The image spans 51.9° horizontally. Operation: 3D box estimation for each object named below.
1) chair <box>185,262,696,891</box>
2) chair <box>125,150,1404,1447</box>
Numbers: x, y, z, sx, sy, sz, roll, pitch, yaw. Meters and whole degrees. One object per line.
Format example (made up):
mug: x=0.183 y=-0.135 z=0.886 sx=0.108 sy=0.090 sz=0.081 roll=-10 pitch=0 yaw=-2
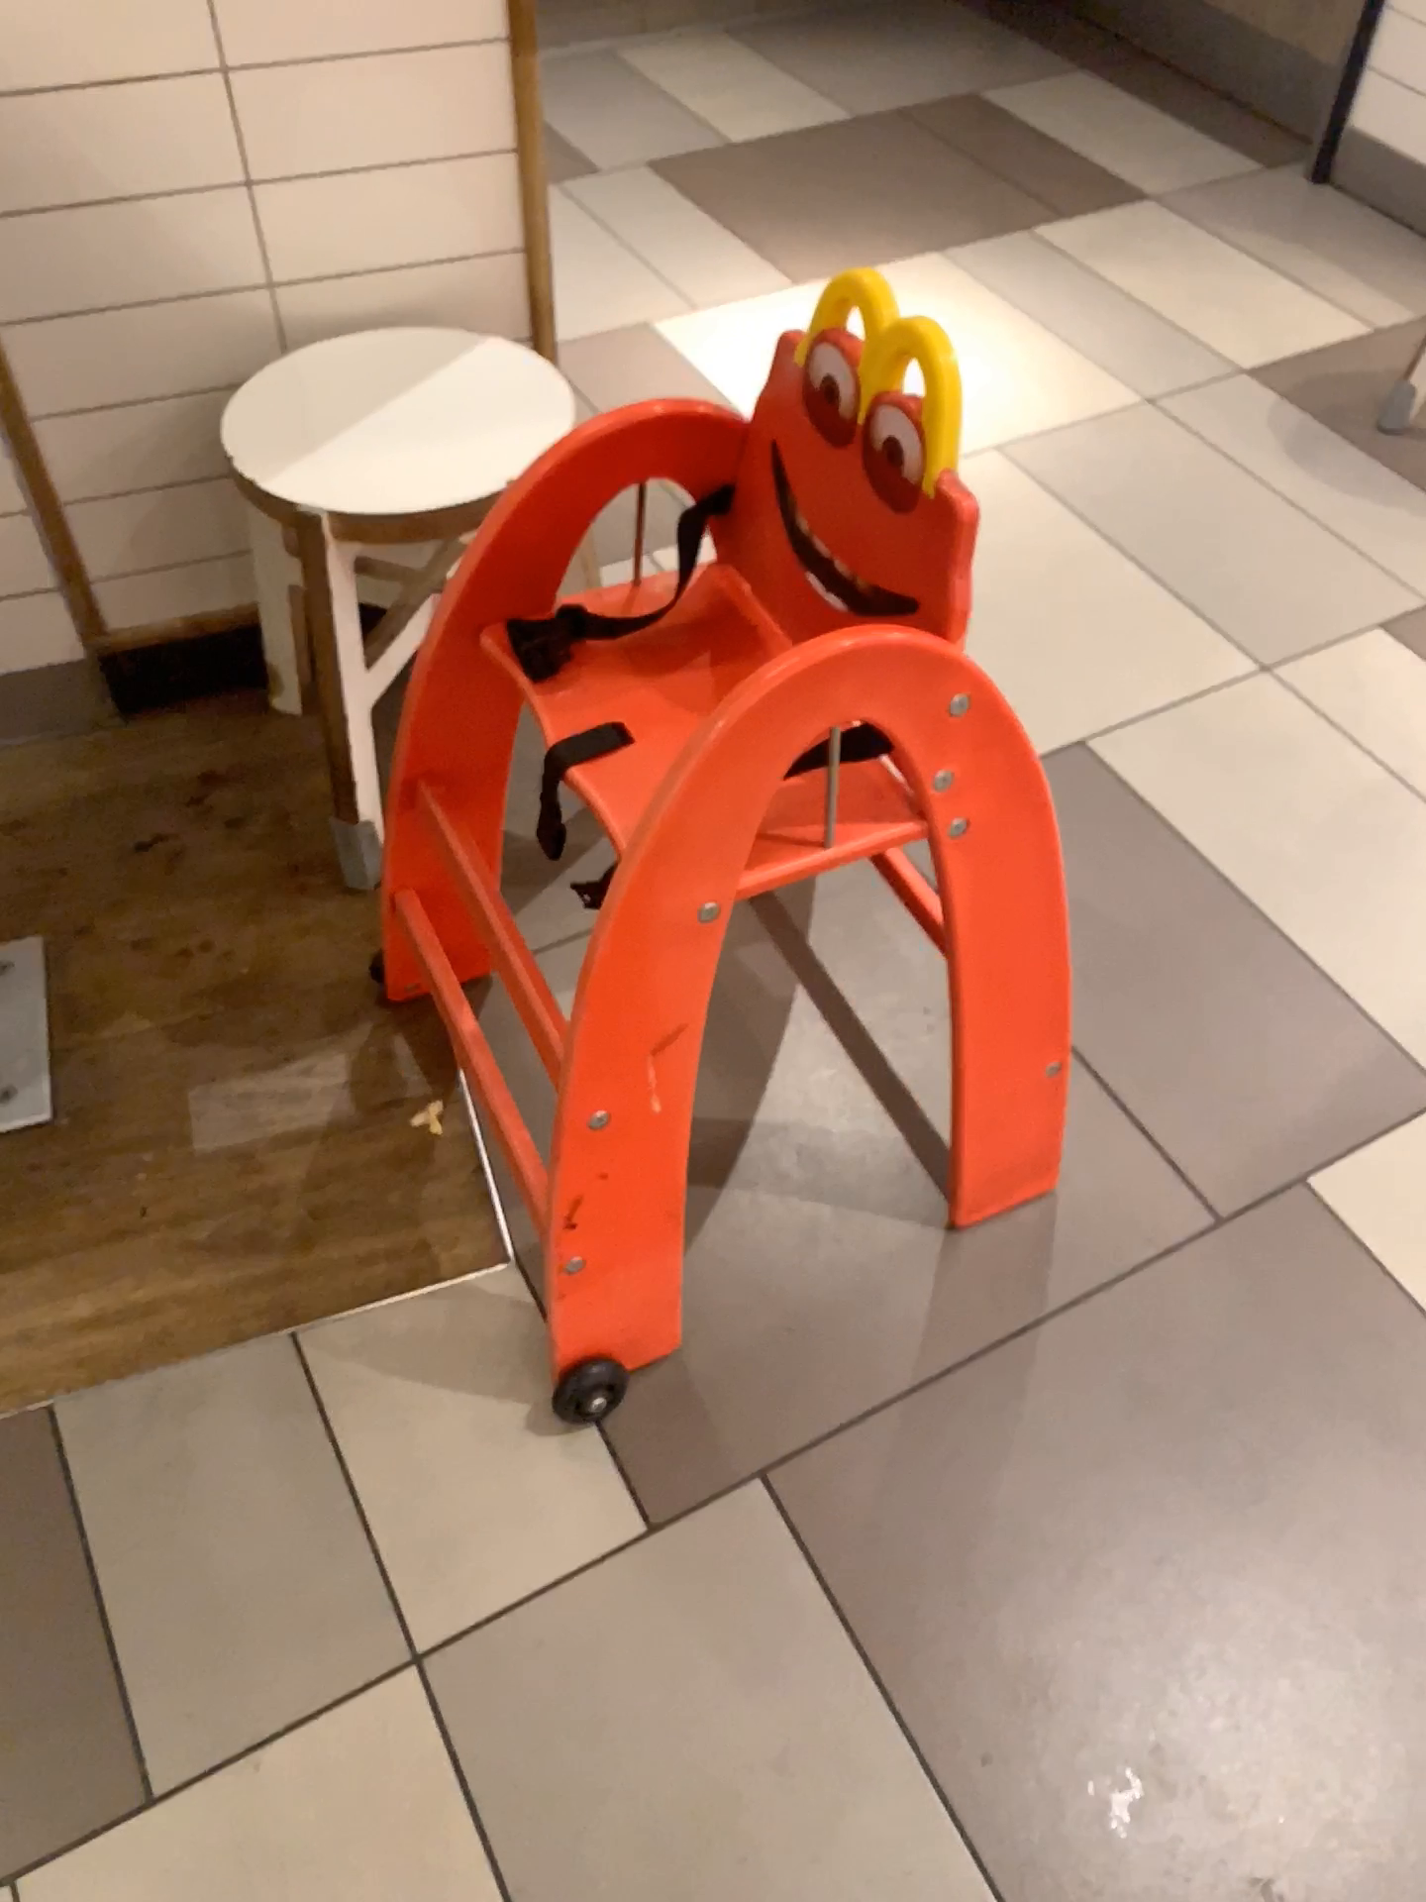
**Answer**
chair: x=-0.258 y=-0.381 z=1.504 sx=0.371 sy=0.446 sz=0.322 roll=-22 pitch=53 yaw=-19
chair: x=-0.006 y=-0.126 z=1.153 sx=0.581 sy=0.654 sz=0.584 roll=-22 pitch=53 yaw=-19
